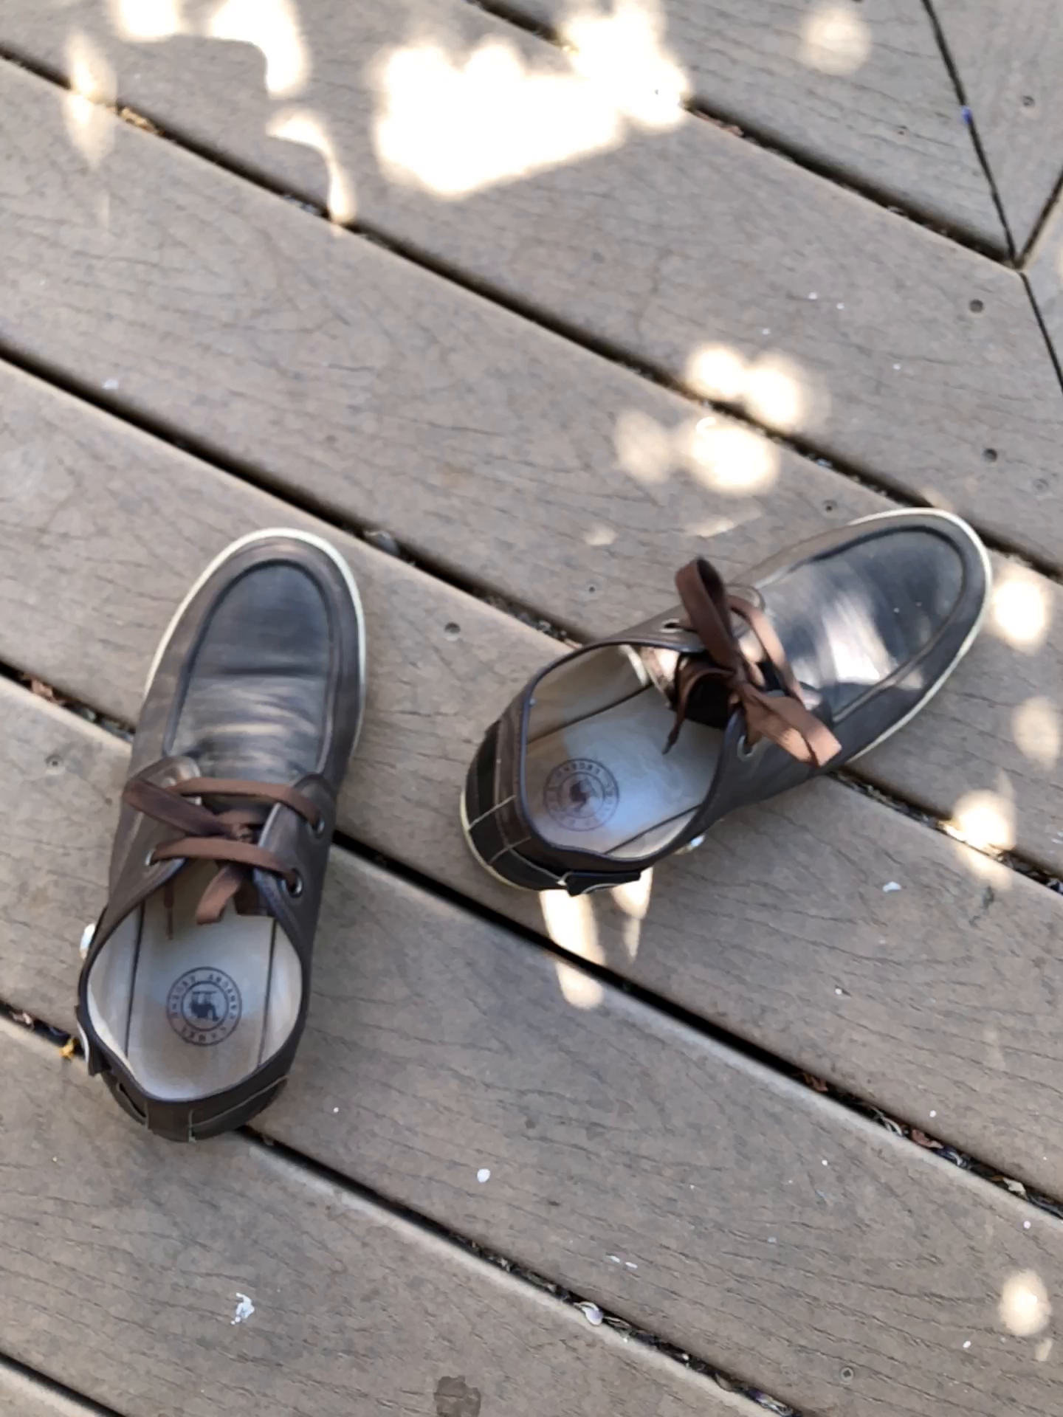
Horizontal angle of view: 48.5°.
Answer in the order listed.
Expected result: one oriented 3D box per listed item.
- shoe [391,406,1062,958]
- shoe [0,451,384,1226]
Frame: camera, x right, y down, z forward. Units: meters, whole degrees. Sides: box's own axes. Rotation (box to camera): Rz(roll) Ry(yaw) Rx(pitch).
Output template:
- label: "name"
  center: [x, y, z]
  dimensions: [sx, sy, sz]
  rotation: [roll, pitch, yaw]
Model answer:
- label: "shoe"
  center: [0.100, -0.009, 0.552]
  dimensions: [0.303, 0.116, 0.110]
  rotation: [-26, 85, -4]
- label: "shoe"
  center: [-0.148, 0.054, 0.537]
  dimensions: [0.110, 0.116, 0.301]
  rotation: [7, 84, -1]
